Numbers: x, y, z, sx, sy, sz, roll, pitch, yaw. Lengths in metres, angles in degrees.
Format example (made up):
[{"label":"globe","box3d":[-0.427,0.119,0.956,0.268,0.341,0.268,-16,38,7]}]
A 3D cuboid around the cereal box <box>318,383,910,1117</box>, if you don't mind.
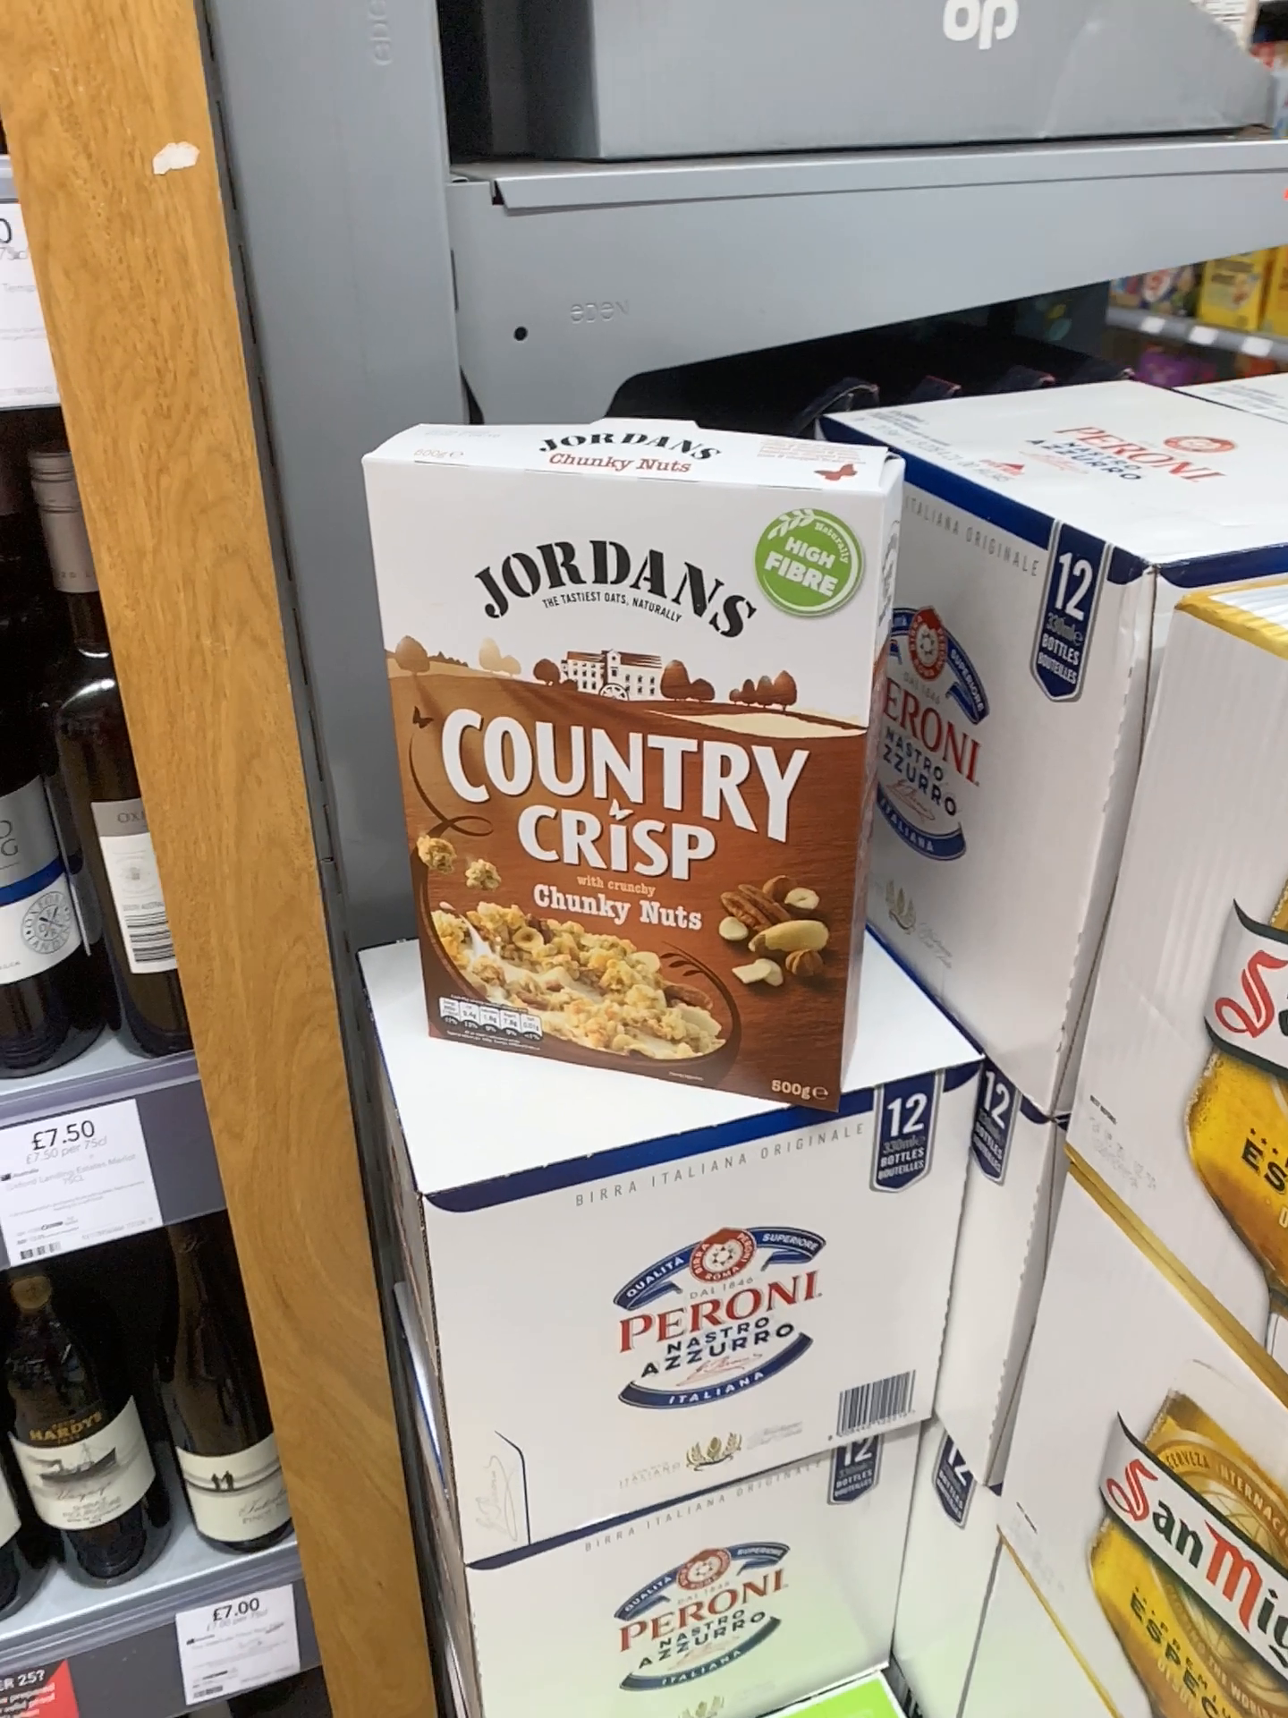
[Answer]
[{"label":"cereal box","box3d":[-0.009,-0.037,0.500,0.190,0.258,0.050,8,30,15]}]
